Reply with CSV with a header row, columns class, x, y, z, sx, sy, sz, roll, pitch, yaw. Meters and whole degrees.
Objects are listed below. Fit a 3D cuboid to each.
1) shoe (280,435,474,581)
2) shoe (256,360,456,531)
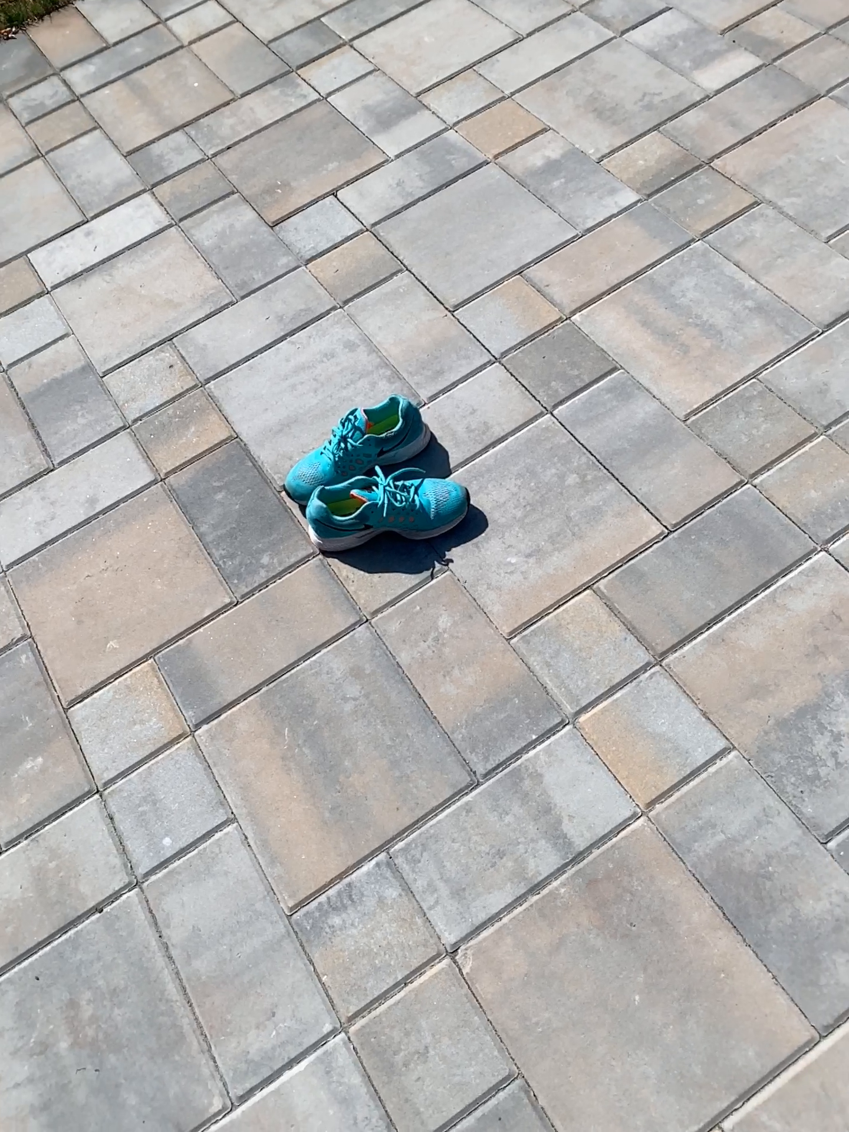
class,x,y,z,sx,sy,sz,roll,pitch,yaw
shoe,-0.075,-0.088,1.348,0.270,0.100,0.130,-15,59,8
shoe,-0.105,-0.191,1.365,0.270,0.100,0.130,-28,60,-7
